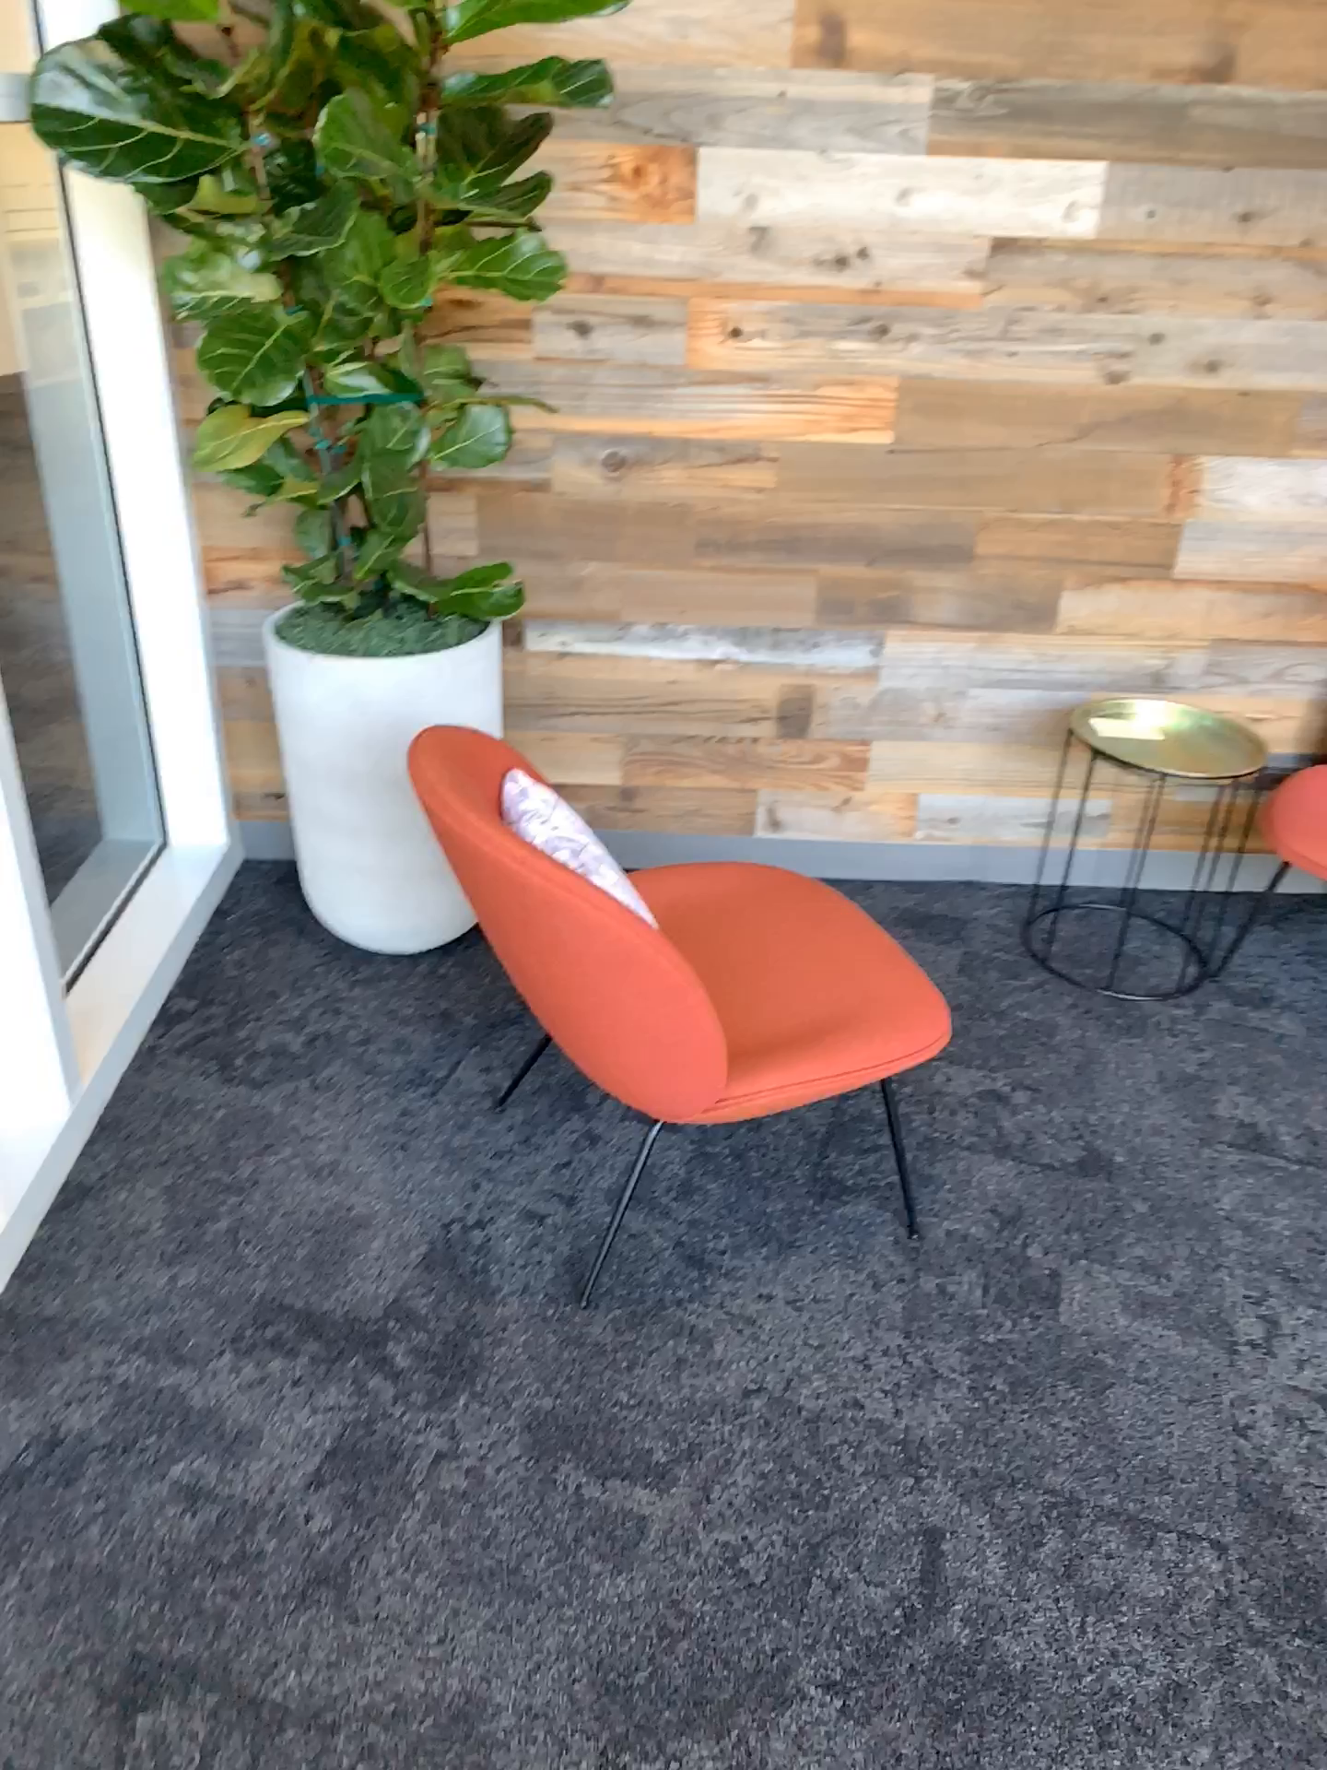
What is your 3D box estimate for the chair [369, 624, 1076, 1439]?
[{"bbox_3d":[0.021,0.150,1.966,0.700,0.795,0.704,-9,31,-20],"label":"chair"}]
